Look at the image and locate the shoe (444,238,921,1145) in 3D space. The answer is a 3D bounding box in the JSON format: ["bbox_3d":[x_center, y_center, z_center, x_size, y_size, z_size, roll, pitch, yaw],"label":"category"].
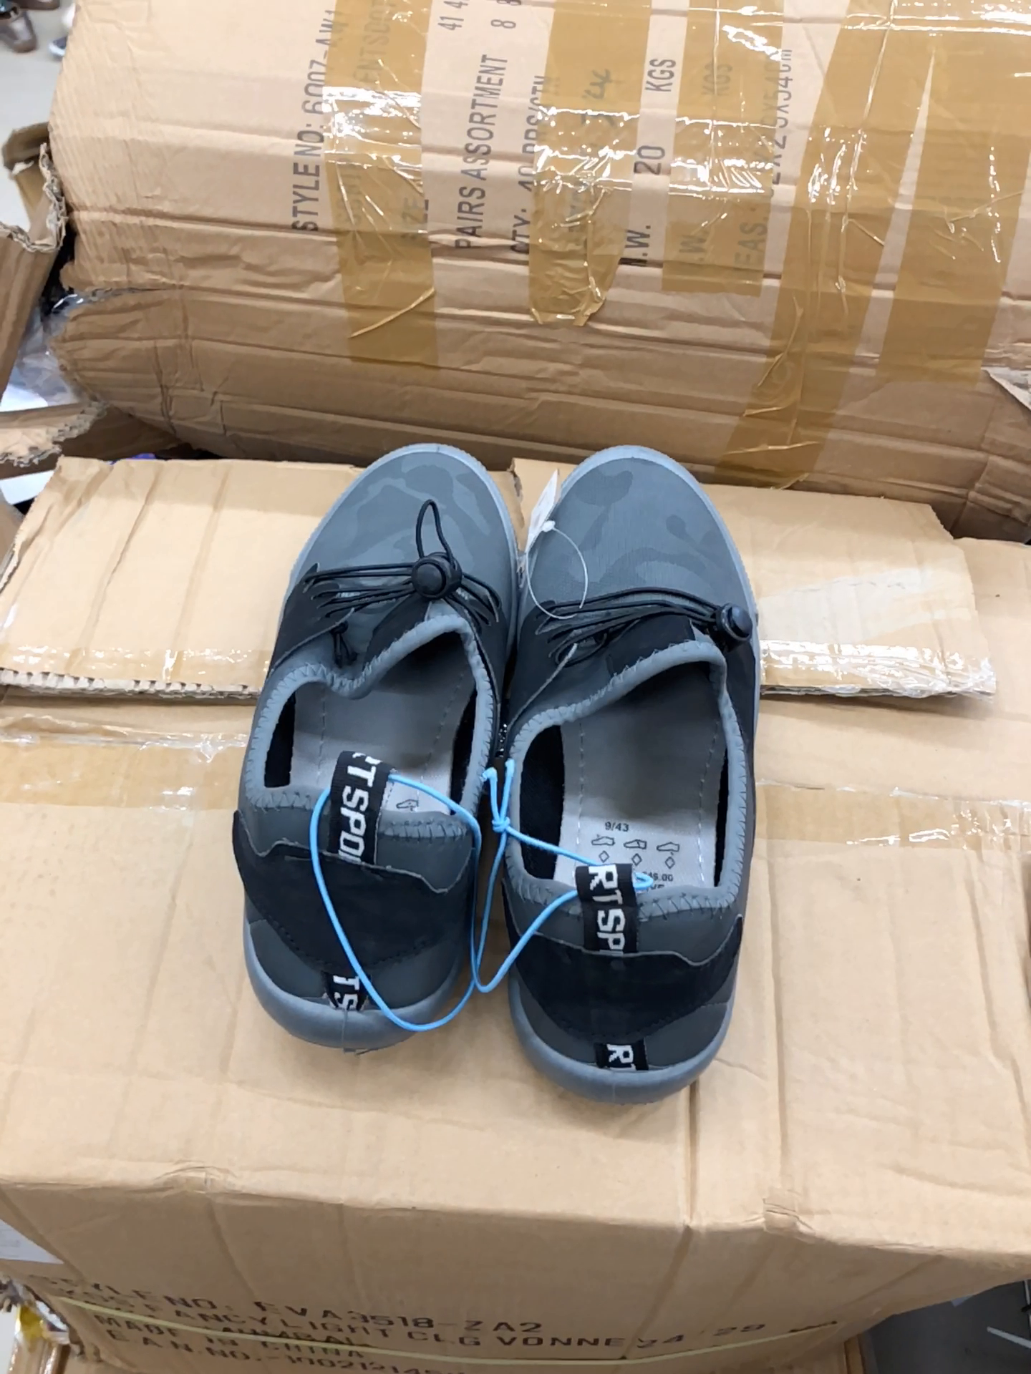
[{"bbox_3d":[0.048,-0.016,0.407,0.110,0.129,0.302,5,51,1],"label":"shoe"}]

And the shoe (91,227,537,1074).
[{"bbox_3d":[-0.052,-0.027,0.444,0.110,0.149,0.302,2,51,-1],"label":"shoe"}]
